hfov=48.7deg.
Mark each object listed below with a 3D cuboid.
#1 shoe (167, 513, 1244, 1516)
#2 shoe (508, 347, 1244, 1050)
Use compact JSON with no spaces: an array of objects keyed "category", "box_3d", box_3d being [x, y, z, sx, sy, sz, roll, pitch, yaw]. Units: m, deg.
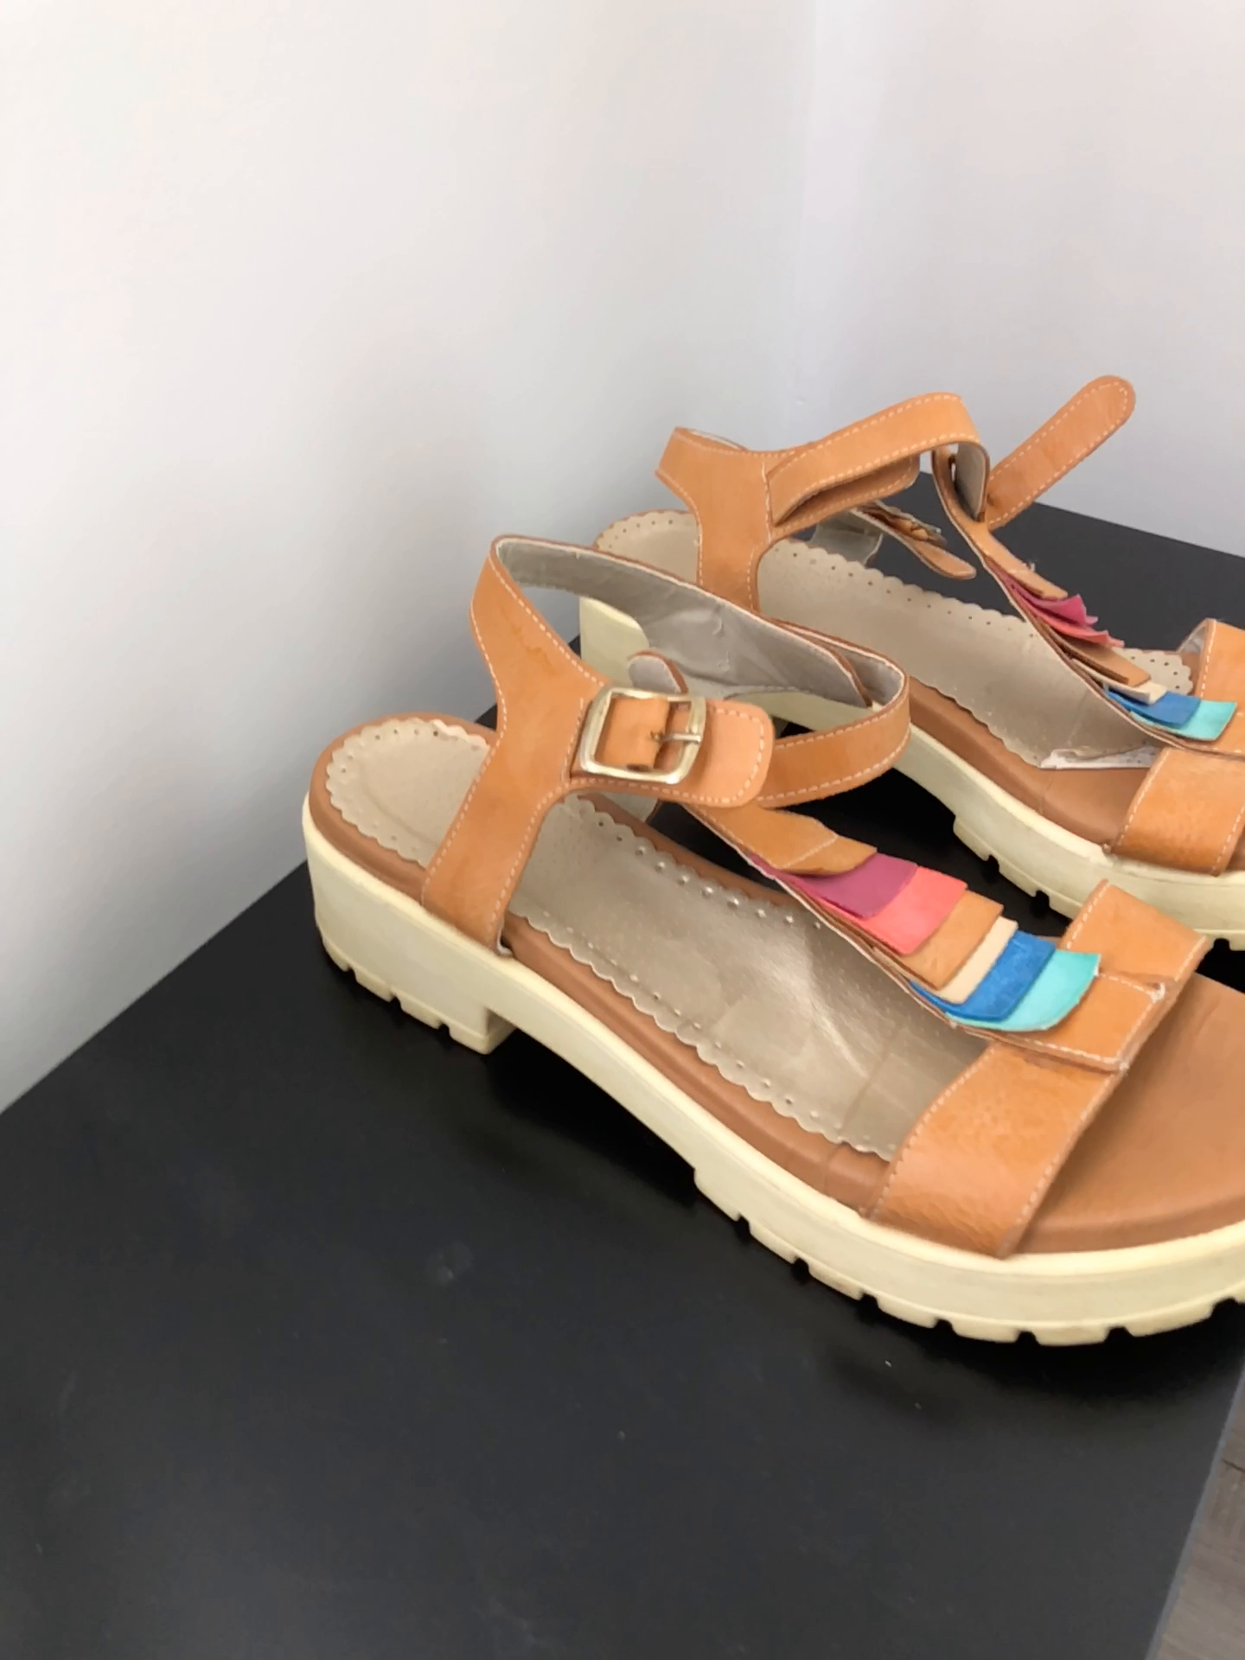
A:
[{"category":"shoe","box_3d":[0.031,0.020,0.306,0.248,0.083,0.100,24,46,25]},{"category":"shoe","box_3d":[0.099,-0.051,0.377,0.248,0.077,0.100,24,46,25]}]
